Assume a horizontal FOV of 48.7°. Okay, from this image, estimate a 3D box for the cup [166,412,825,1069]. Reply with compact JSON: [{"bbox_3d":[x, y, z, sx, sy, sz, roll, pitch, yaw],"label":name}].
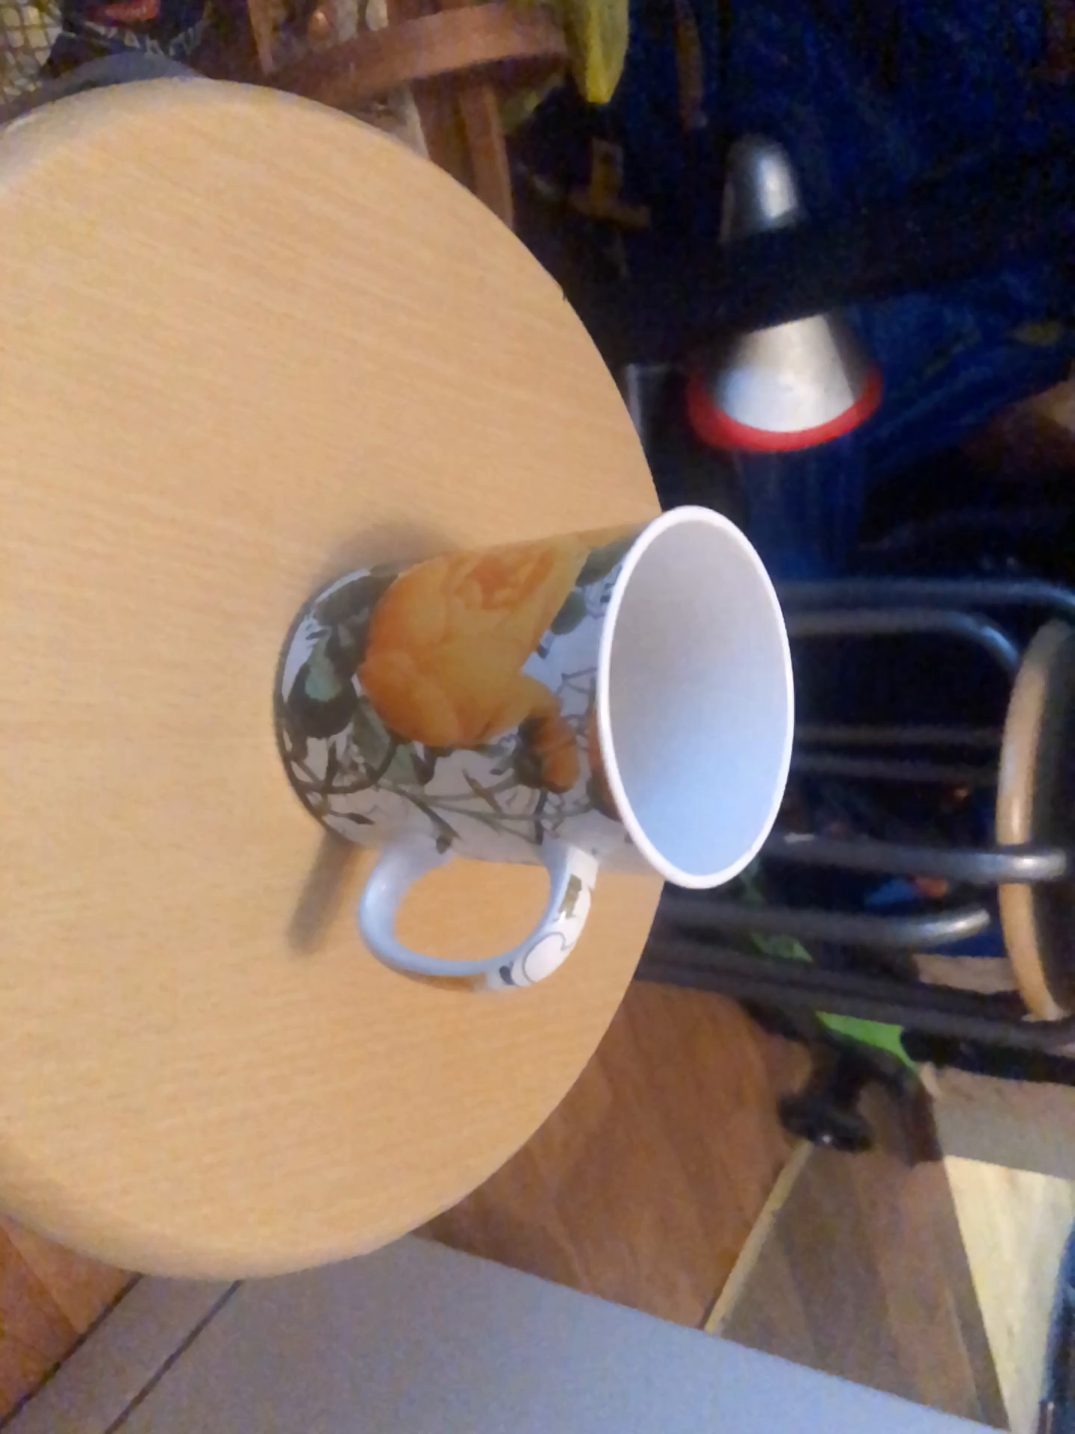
[{"bbox_3d":[-0.004,0.009,0.272,0.082,0.097,0.111,37,60,-46],"label":"cup"}]
